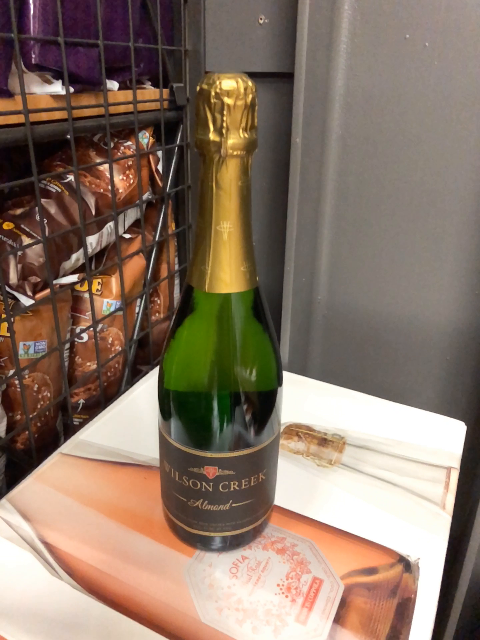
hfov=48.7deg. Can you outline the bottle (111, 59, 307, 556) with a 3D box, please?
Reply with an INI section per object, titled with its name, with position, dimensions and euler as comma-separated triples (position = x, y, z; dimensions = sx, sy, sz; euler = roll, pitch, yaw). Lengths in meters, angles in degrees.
[bottle]
position = -0.015, 0.003, 0.347
dimensions = 0.090, 0.309, 0.090
euler = 1, 24, 0
